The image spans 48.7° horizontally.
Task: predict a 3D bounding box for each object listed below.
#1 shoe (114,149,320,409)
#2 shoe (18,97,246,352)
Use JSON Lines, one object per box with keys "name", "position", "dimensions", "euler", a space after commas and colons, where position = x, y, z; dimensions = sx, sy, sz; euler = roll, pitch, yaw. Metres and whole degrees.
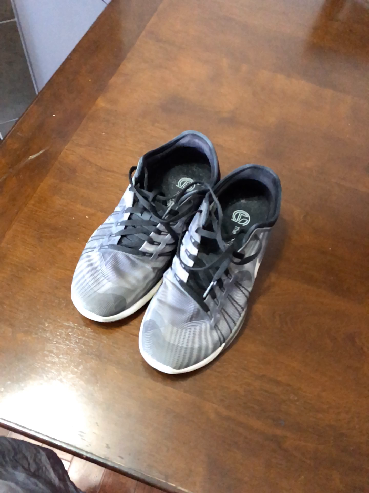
{"name": "shoe", "position": [0.038, 0.024, 0.408], "dimensions": [0.100, 0.080, 0.230], "euler": [27, 62, 9]}
{"name": "shoe", "position": [-0.039, -0.030, 0.413], "dimensions": [0.100, 0.090, 0.230], "euler": [27, 62, 10]}
